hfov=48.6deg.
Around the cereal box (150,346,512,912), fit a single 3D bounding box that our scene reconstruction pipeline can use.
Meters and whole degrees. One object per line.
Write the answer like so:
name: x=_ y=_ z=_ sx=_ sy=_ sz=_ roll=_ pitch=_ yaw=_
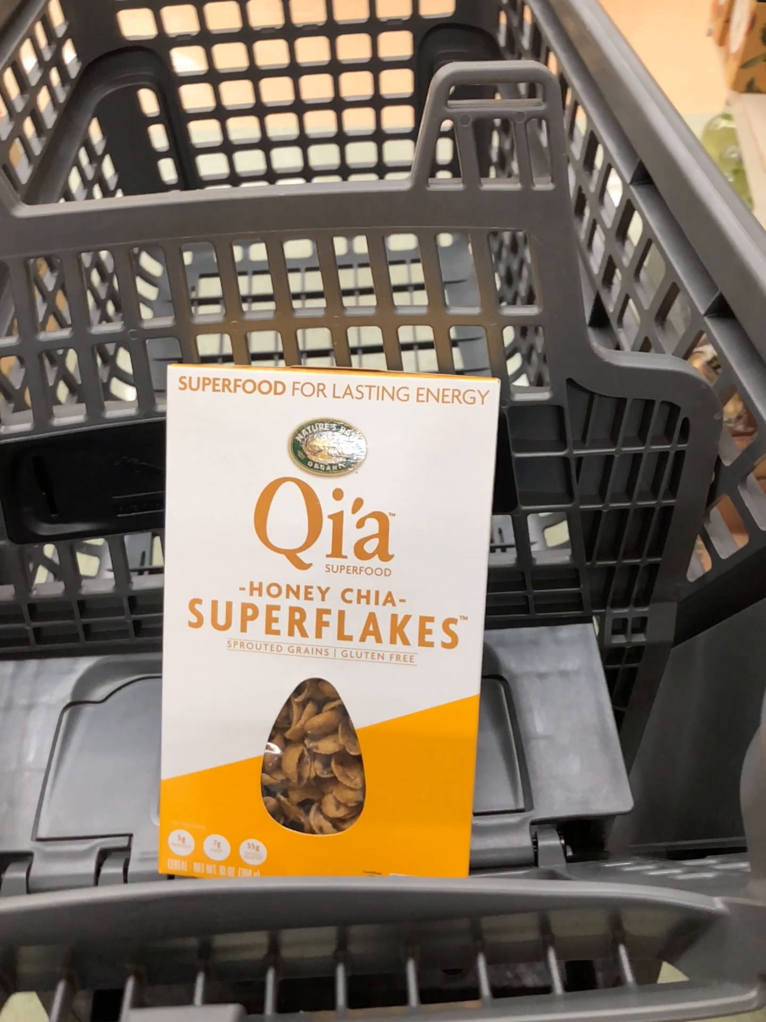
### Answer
cereal box: x=-0.026 y=0.054 z=0.438 sx=0.160 sy=0.070 sz=0.260 roll=4 pitch=97 yaw=7
